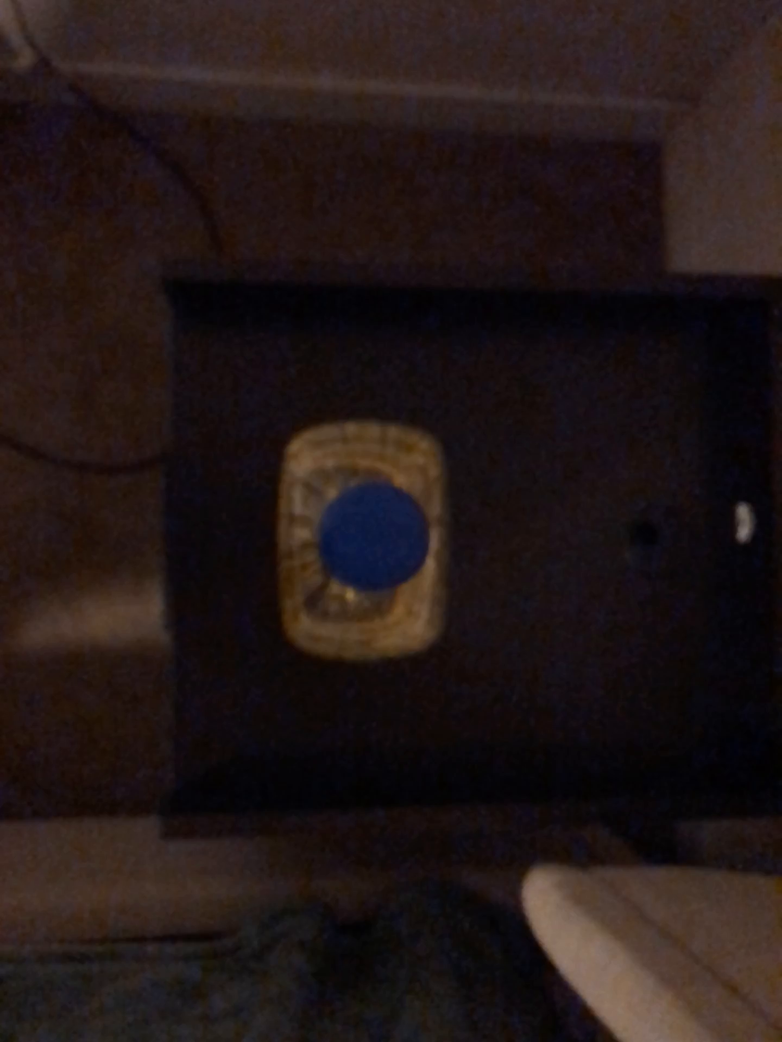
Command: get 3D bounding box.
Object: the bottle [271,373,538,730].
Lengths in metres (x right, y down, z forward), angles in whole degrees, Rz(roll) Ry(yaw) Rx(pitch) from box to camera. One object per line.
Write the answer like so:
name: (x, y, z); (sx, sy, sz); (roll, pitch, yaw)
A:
bottle: (-0.010, 0.017, 0.415); (0.083, 0.277, 0.110); (0, 87, -6)
